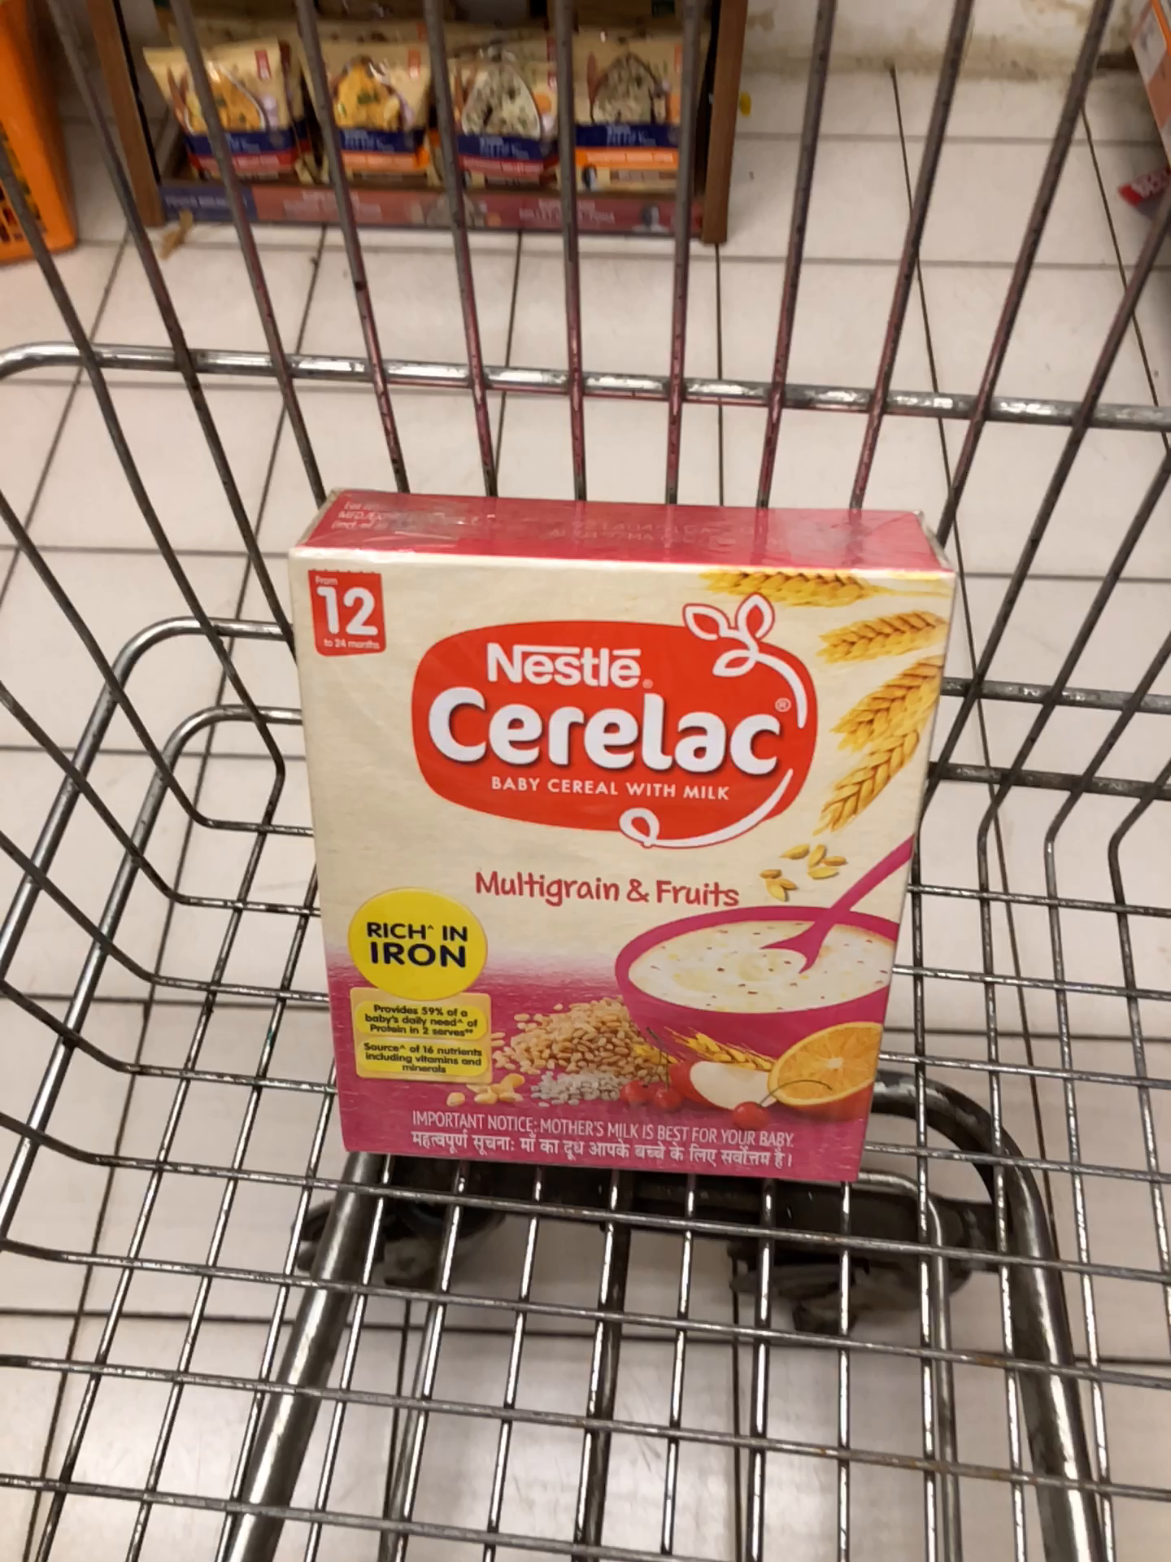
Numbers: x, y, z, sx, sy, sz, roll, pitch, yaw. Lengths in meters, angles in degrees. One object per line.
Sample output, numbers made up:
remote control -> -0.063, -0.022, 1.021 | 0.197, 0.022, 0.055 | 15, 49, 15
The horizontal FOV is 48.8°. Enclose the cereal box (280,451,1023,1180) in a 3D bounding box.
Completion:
cereal box -> 0.012, 0.016, 0.347 | 0.160, 0.189, 0.050 | 3, 30, 2
